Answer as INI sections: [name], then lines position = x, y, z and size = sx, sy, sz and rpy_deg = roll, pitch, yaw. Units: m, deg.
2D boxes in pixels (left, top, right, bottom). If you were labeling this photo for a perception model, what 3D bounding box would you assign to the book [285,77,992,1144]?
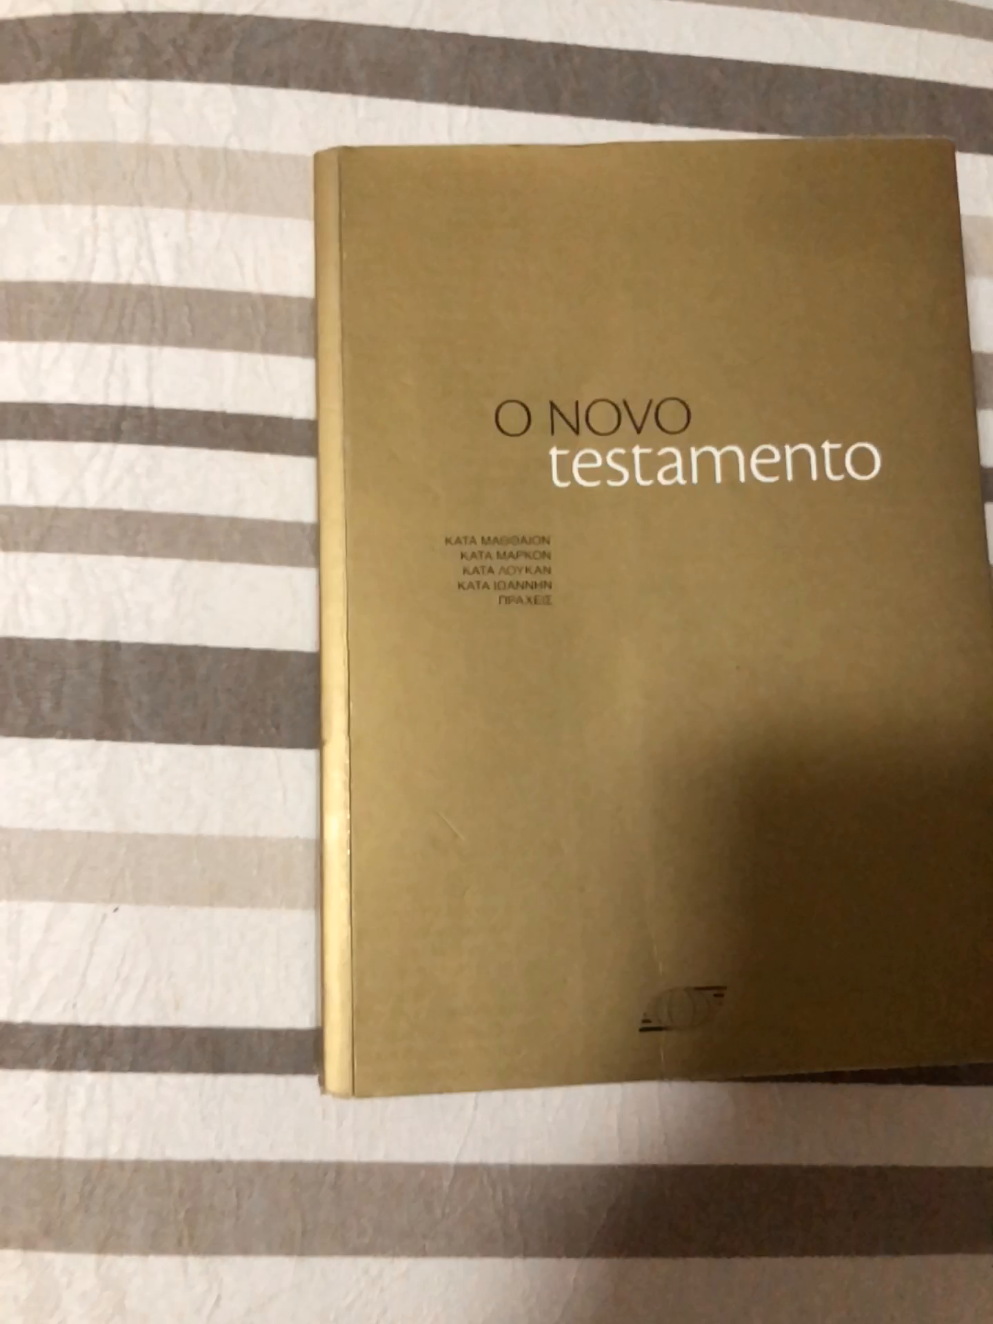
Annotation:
[book]
position = 0.033, -0.018, 0.265
size = 0.160, 0.050, 0.230
rpy_deg = -1, 80, -6
